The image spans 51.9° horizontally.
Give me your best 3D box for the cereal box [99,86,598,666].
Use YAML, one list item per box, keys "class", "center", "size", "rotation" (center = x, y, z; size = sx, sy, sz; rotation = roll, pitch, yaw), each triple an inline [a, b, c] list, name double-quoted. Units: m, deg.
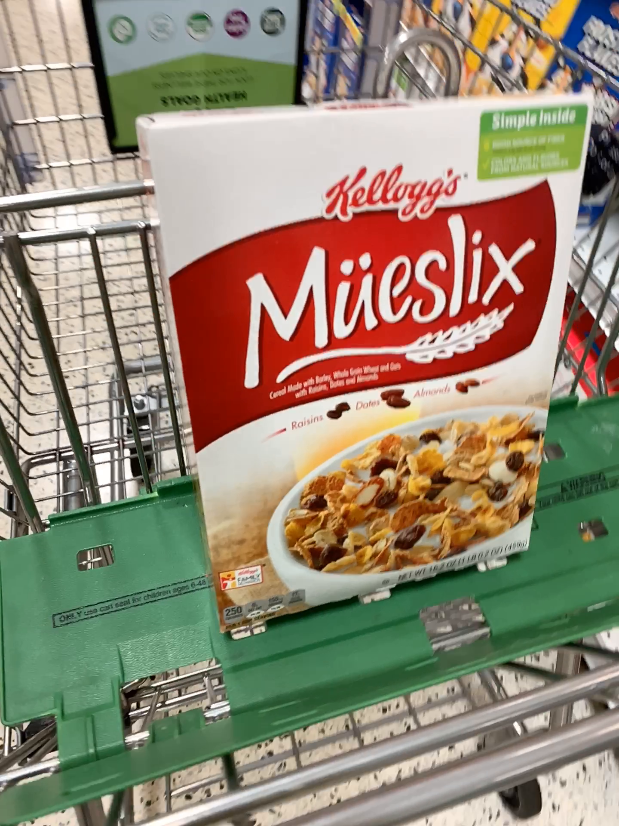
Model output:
- class: "cereal box"
  center: [0.022, -0.013, 0.330]
  size: [0.200, 0.268, 0.060]
  rotation: [-11, 30, -15]
